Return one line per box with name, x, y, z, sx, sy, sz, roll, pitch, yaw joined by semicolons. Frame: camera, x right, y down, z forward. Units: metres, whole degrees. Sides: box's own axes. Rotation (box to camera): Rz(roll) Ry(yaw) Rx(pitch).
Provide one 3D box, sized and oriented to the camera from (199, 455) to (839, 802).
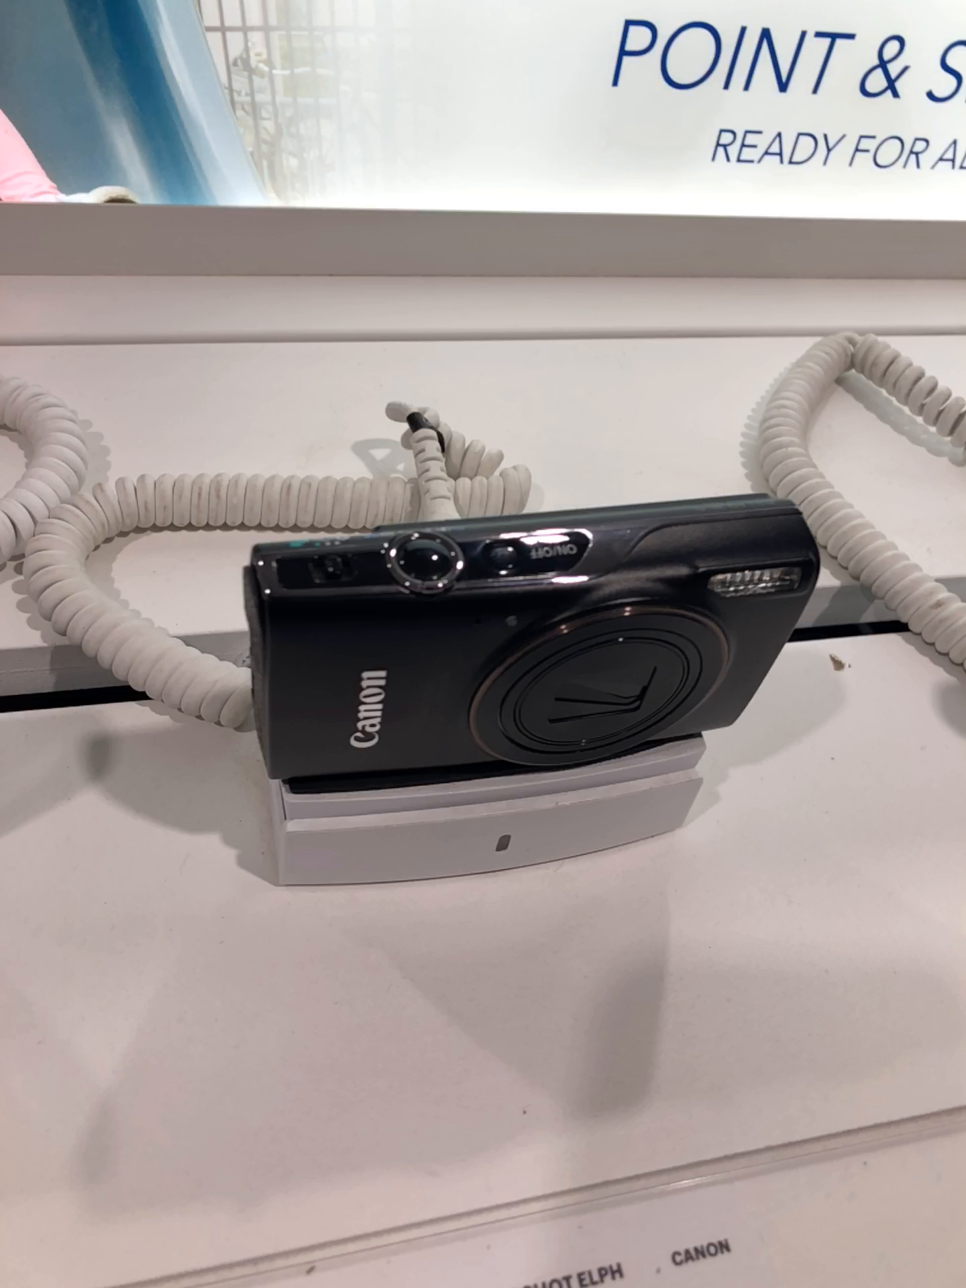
camera;0.005;-0.003;0.213;0.113;0.057;0.026;-6;49;-15
